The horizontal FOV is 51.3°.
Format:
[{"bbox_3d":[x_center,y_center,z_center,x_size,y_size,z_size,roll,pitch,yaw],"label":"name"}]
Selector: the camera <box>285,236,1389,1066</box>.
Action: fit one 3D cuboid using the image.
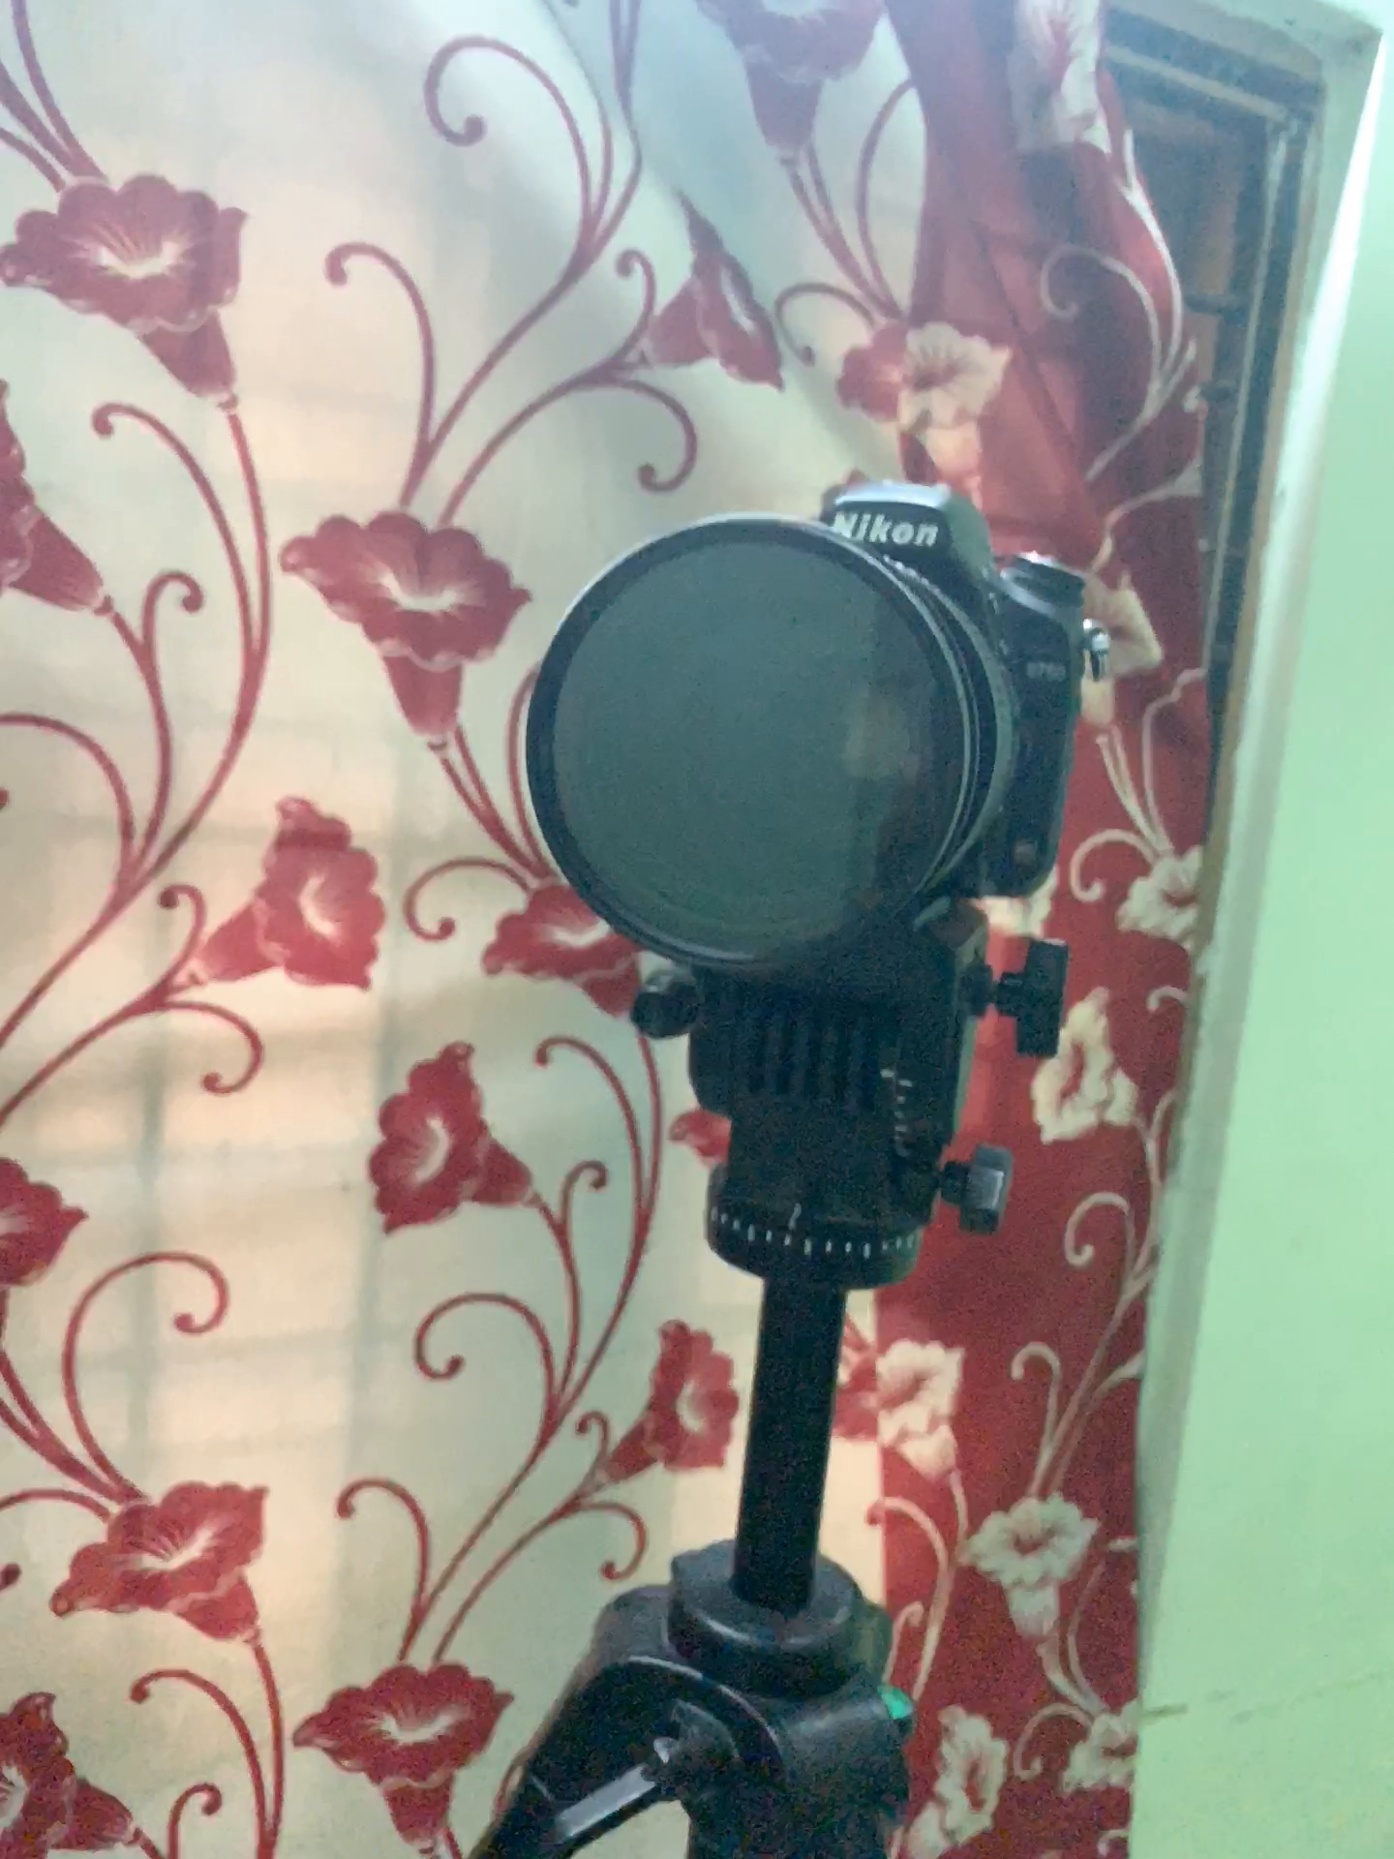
[{"bbox_3d":[0.031,-0.058,0.325,0.172,0.122,0.170,7,7,10],"label":"camera"}]
